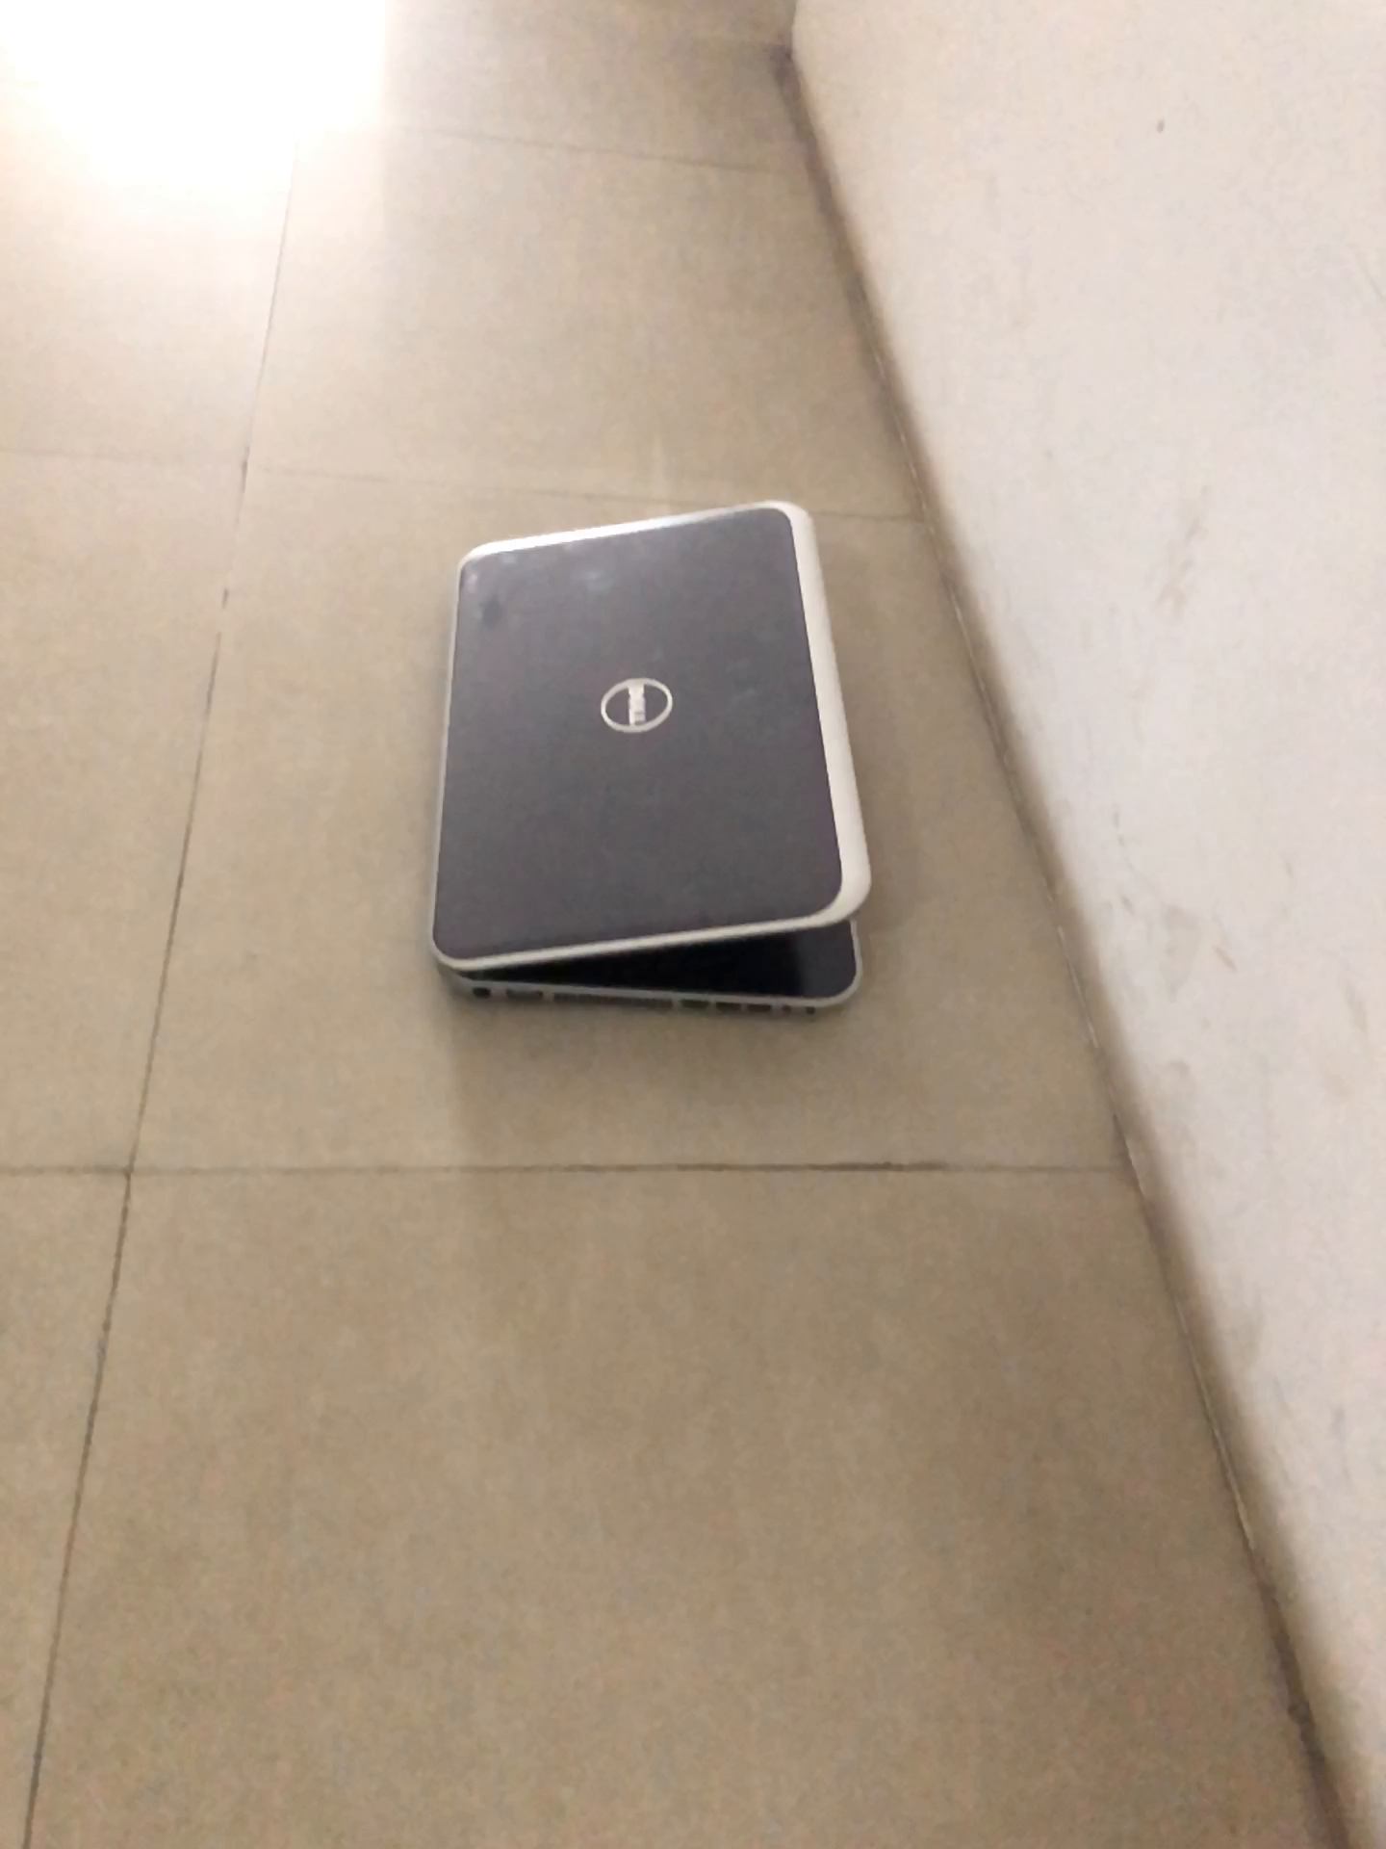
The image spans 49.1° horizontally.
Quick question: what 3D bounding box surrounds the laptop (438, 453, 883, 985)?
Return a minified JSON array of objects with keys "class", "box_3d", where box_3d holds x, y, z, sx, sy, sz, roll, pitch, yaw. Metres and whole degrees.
[{"class":"laptop","box_3d":[-0.029,-0.139,0.940,0.234,0.079,0.362,2,52,-7]}]
